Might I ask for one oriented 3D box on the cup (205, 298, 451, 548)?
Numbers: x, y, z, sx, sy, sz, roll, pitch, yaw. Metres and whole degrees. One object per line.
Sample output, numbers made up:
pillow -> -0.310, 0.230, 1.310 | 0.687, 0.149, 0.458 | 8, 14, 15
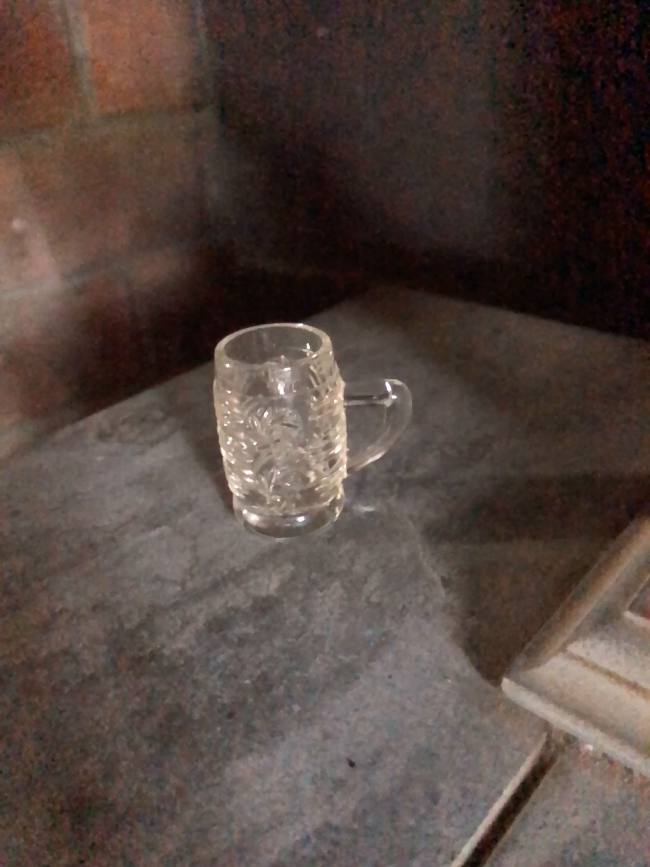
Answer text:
cup -> 0.001, -0.005, 0.209 | 0.060, 0.050, 0.040 | -9, 29, -7
